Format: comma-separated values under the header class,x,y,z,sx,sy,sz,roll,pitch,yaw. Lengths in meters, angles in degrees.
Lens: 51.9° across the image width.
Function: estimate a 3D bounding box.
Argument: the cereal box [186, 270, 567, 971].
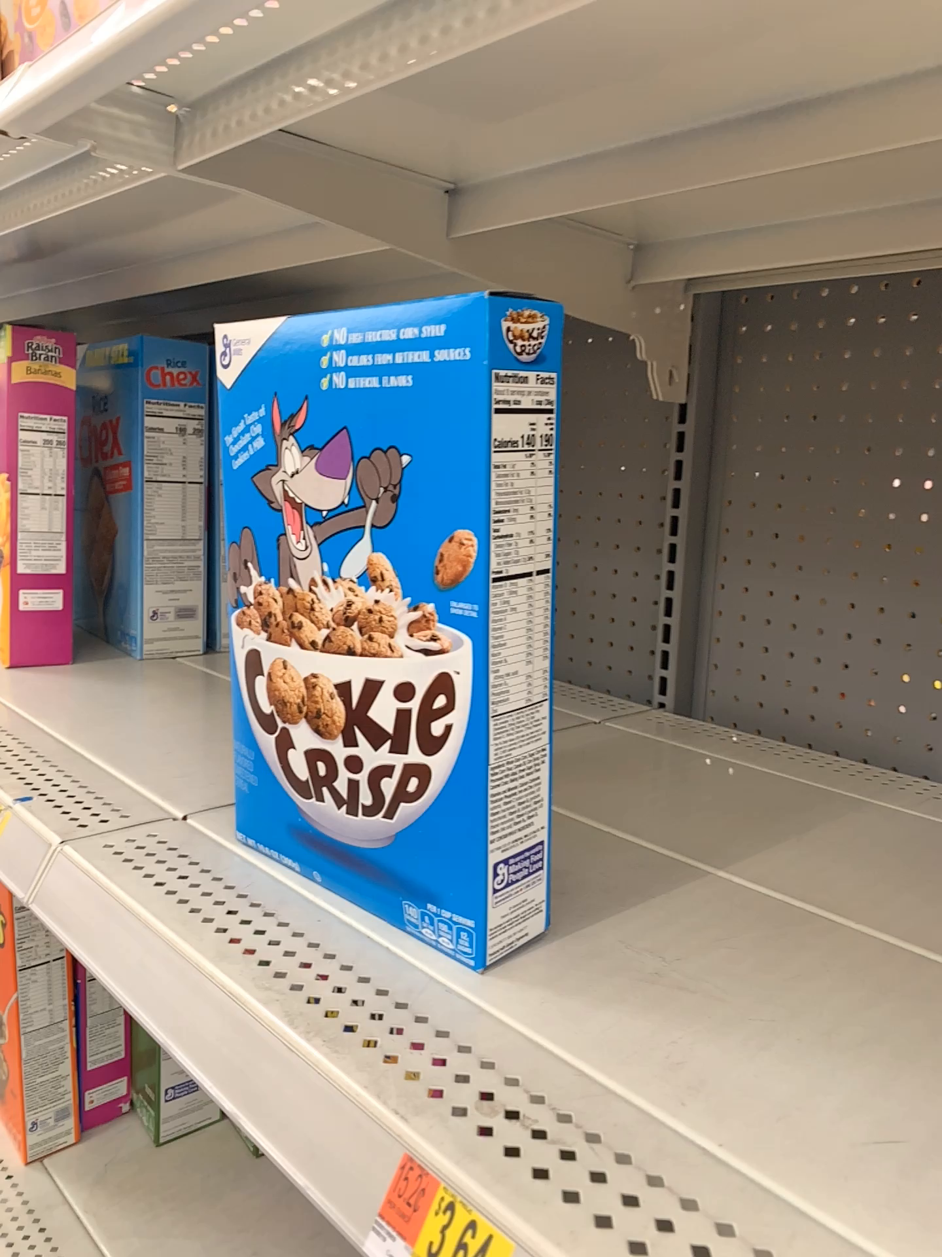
class,x,y,z,sx,sy,sz,roll,pitch,yaw
cereal box,-0.055,-0.013,0.469,0.210,0.279,0.050,11,16,43
